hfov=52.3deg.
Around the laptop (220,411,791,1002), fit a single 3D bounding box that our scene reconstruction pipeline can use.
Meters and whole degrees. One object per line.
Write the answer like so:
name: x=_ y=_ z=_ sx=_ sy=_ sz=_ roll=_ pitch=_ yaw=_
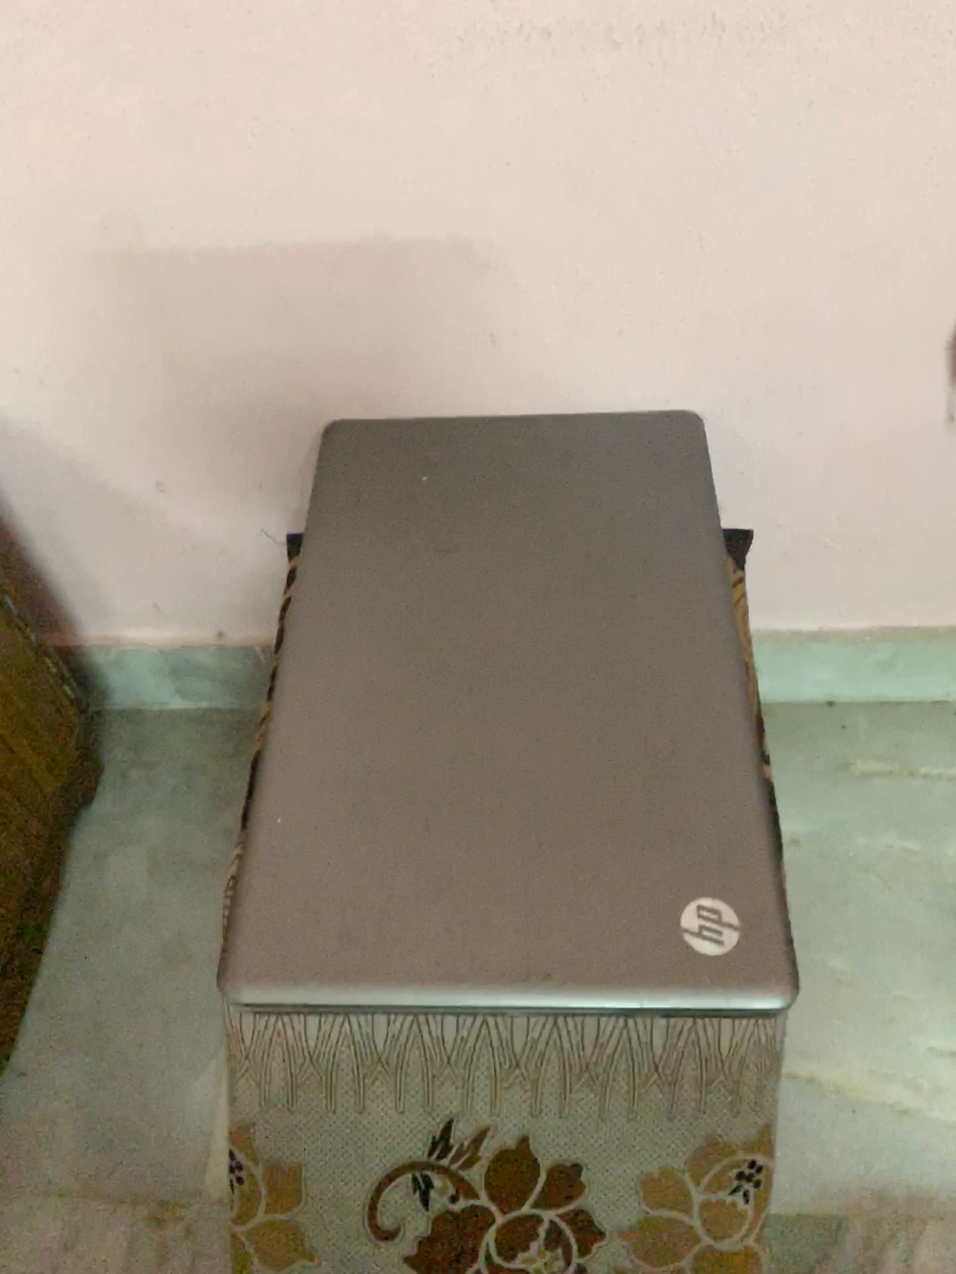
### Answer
laptop: x=0.016 y=0.005 z=0.538 sx=0.249 sy=0.002 sz=0.381 roll=-1 pitch=53 yaw=4
